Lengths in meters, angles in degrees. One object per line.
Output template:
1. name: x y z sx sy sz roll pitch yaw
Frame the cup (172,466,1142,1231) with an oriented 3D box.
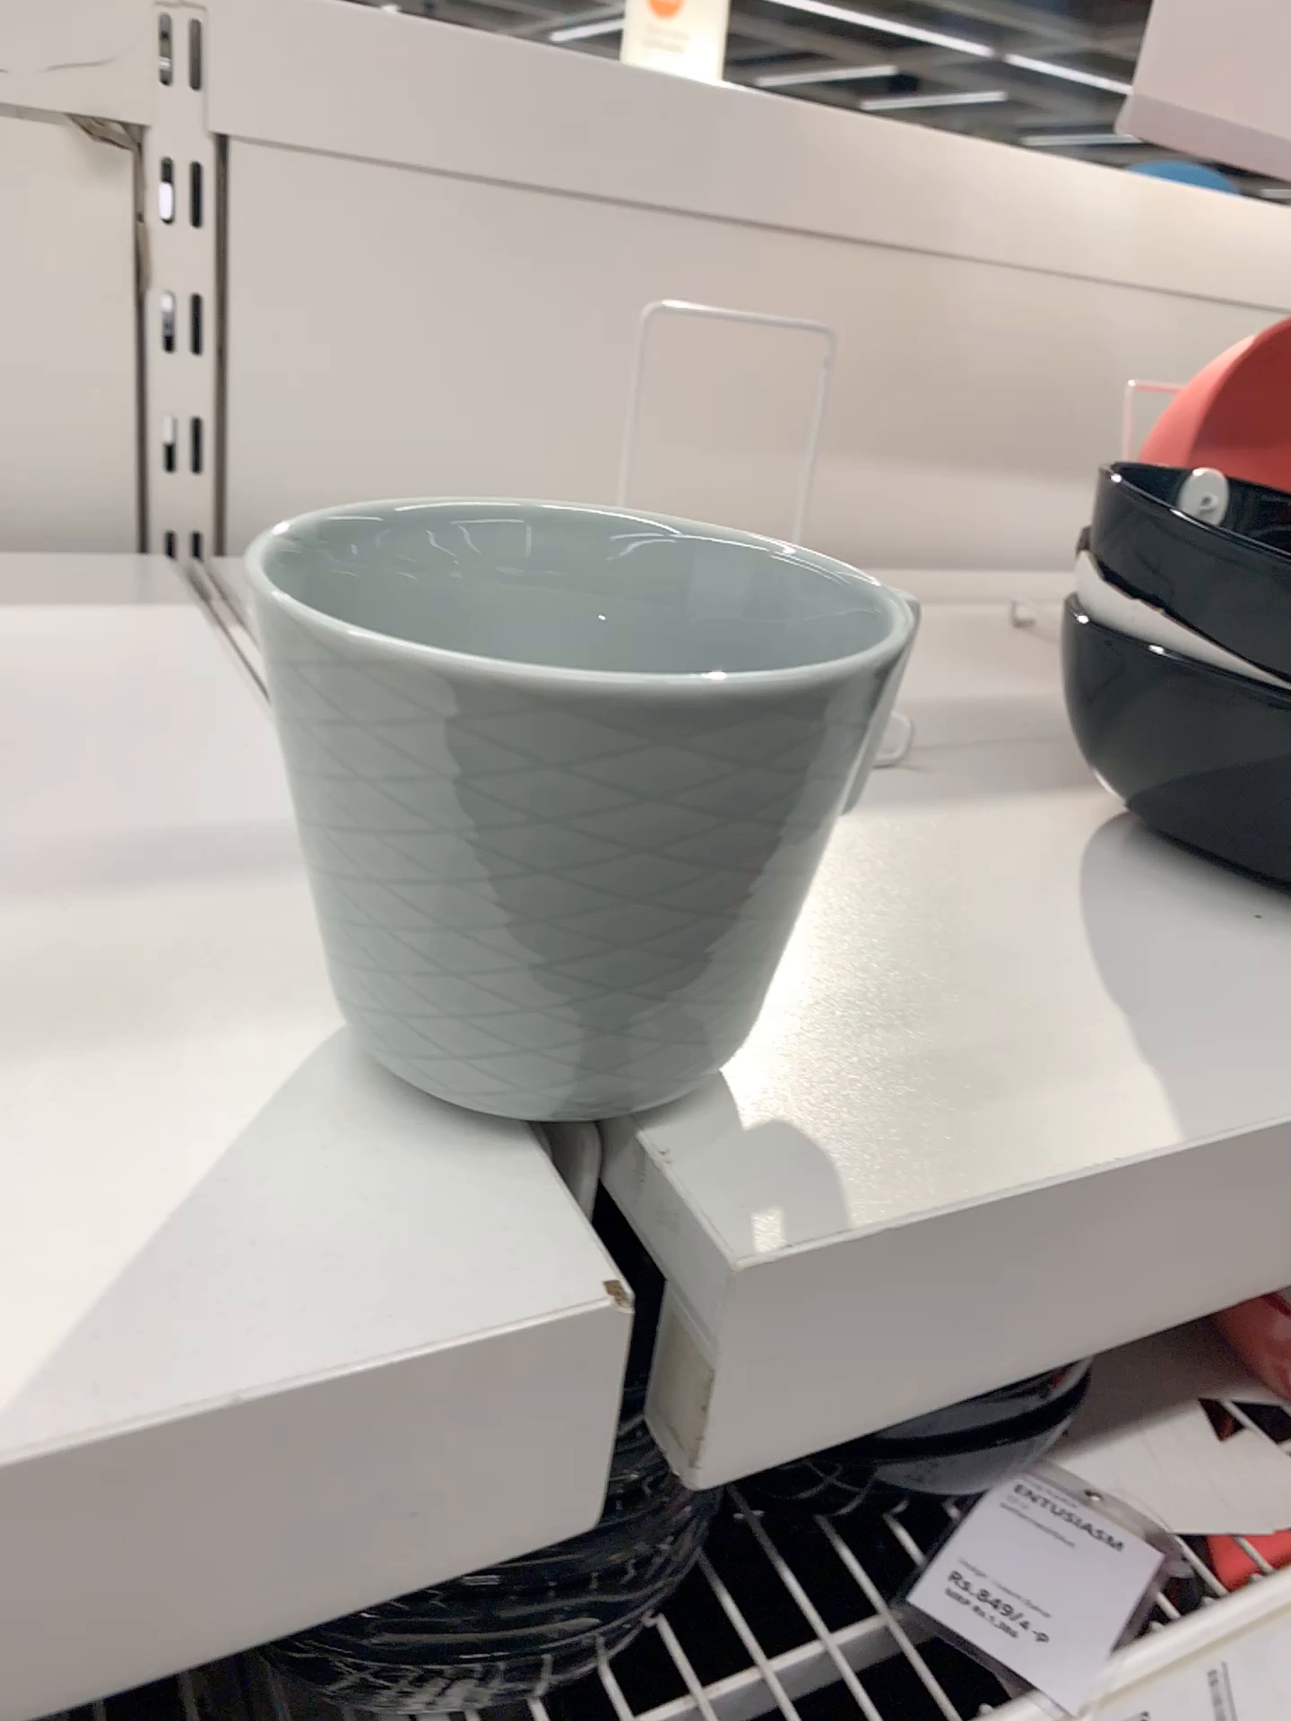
1. cup: 0.008 -0.020 0.226 0.100 0.070 0.130 21 27 28
